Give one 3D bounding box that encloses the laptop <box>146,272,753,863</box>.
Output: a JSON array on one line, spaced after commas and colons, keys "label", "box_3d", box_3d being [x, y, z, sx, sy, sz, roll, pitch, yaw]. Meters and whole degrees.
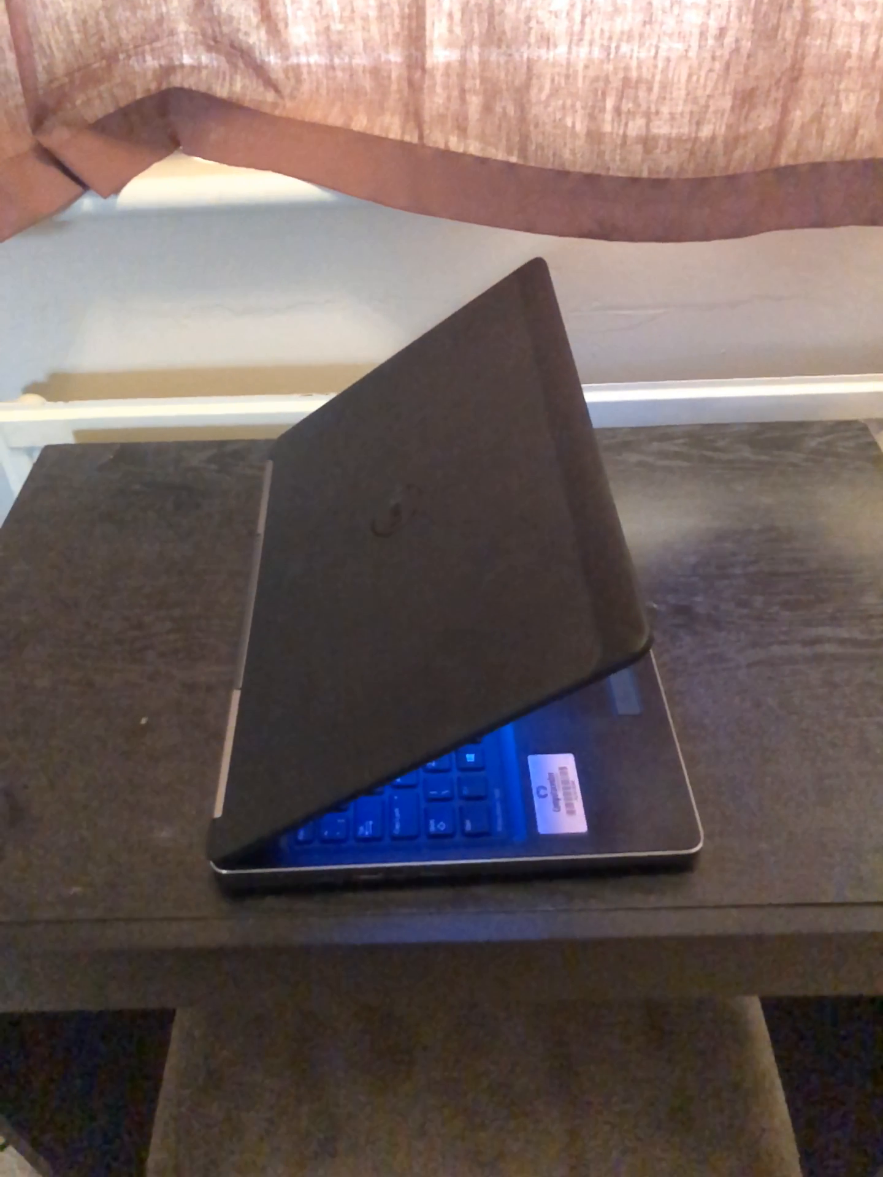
[{"label": "laptop", "box_3d": [-0.003, -0.038, 0.568, 0.243, 0.134, 0.365, -2, 43, 1]}]
